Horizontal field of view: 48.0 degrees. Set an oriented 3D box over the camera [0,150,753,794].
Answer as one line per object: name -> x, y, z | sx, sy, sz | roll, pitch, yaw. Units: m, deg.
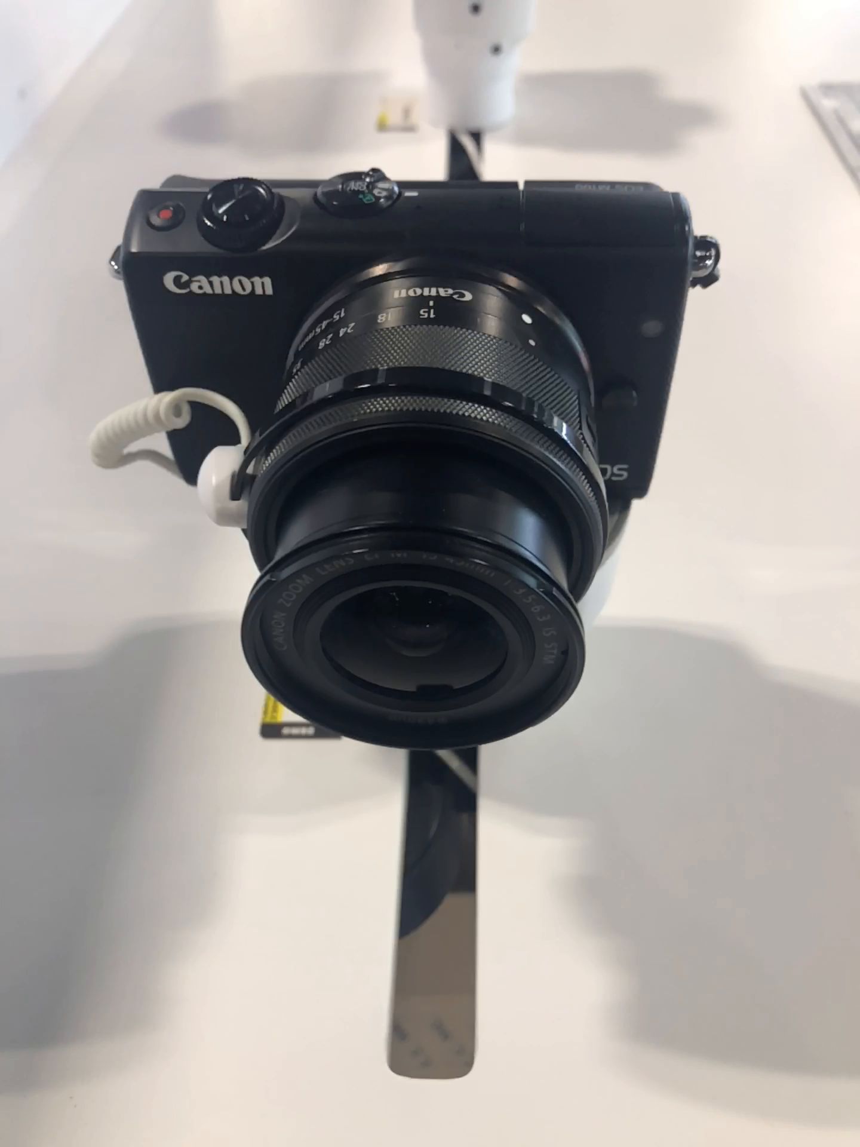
camera -> -0.011, -0.022, 0.177 | 0.110, 0.072, 0.091 | 2, 47, 5
